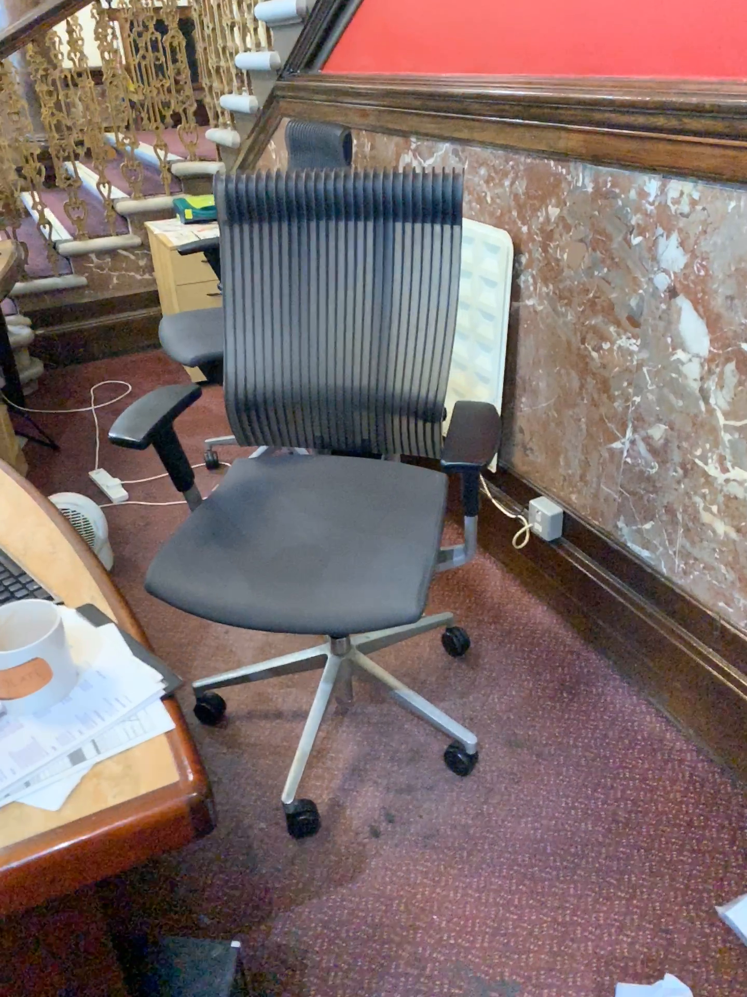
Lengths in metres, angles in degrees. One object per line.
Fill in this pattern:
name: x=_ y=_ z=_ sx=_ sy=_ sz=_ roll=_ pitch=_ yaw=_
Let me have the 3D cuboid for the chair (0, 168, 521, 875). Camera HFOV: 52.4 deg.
chair: x=-0.125 y=0.008 z=1.506 sx=0.720 sy=1.129 sz=0.696 roll=5 pitch=30 yaw=13
